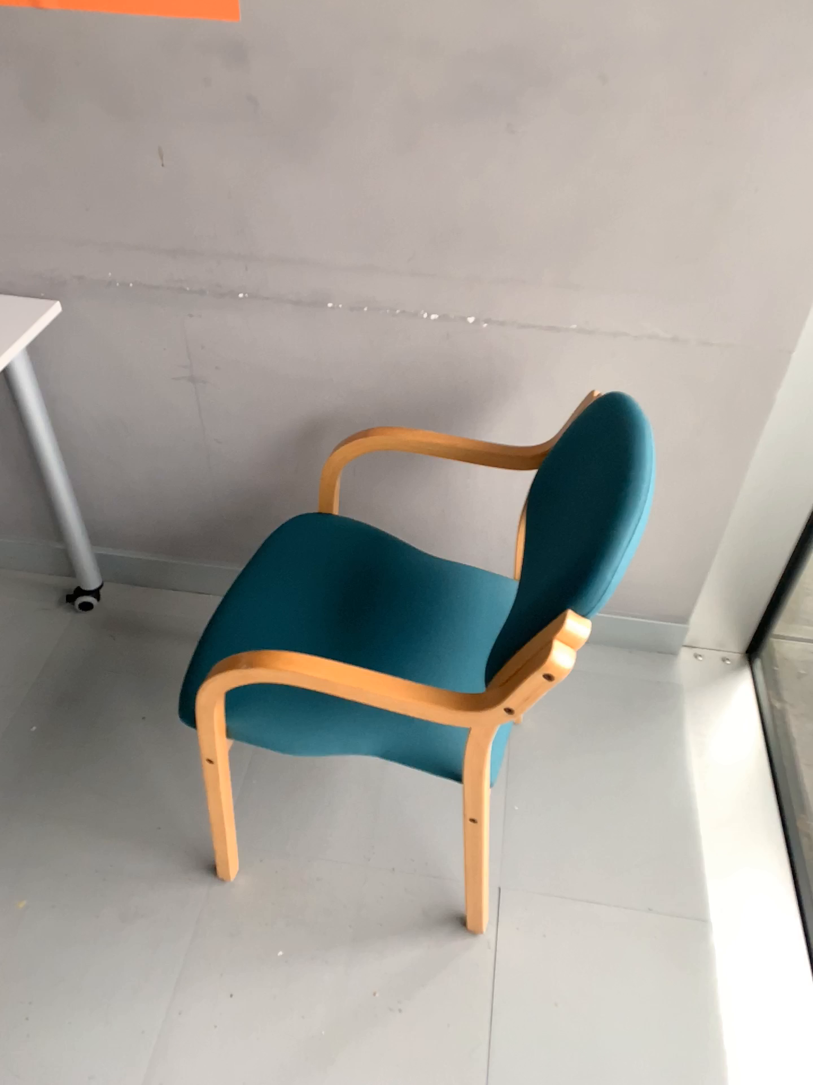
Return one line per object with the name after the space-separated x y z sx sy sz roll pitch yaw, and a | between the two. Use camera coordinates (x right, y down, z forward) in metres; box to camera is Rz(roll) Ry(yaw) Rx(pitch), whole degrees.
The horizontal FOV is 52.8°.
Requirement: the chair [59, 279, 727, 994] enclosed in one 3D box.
0.029 0.122 1.257 0.640 0.723 0.687 9 43 8 | chair
